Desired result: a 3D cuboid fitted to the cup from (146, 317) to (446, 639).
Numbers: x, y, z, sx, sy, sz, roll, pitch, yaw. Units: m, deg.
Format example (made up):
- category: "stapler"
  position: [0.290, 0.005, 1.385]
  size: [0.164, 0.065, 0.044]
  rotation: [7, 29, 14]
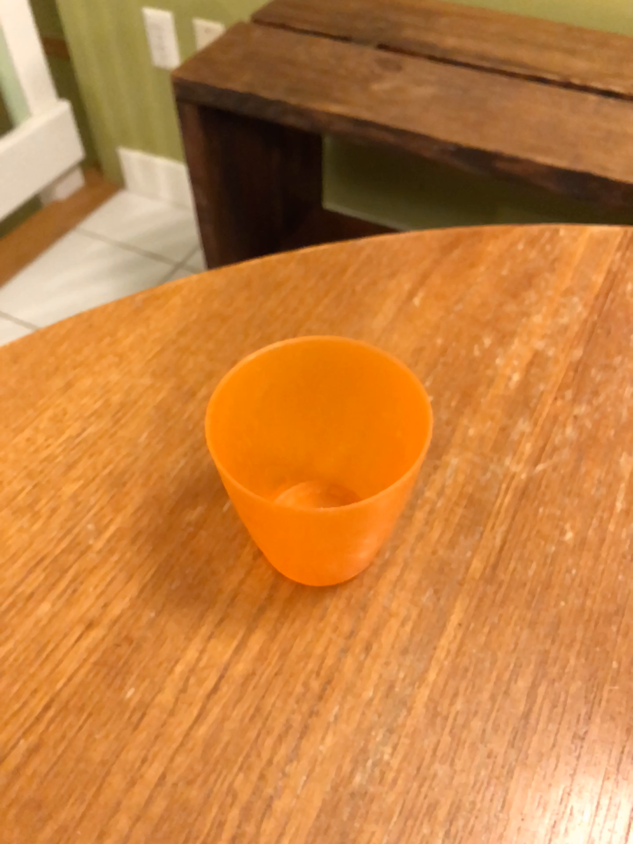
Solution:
- category: "cup"
  position: [-0.003, 0.019, 0.264]
  size: [0.079, 0.066, 0.080]
  rotation: [-1, 50, 1]
